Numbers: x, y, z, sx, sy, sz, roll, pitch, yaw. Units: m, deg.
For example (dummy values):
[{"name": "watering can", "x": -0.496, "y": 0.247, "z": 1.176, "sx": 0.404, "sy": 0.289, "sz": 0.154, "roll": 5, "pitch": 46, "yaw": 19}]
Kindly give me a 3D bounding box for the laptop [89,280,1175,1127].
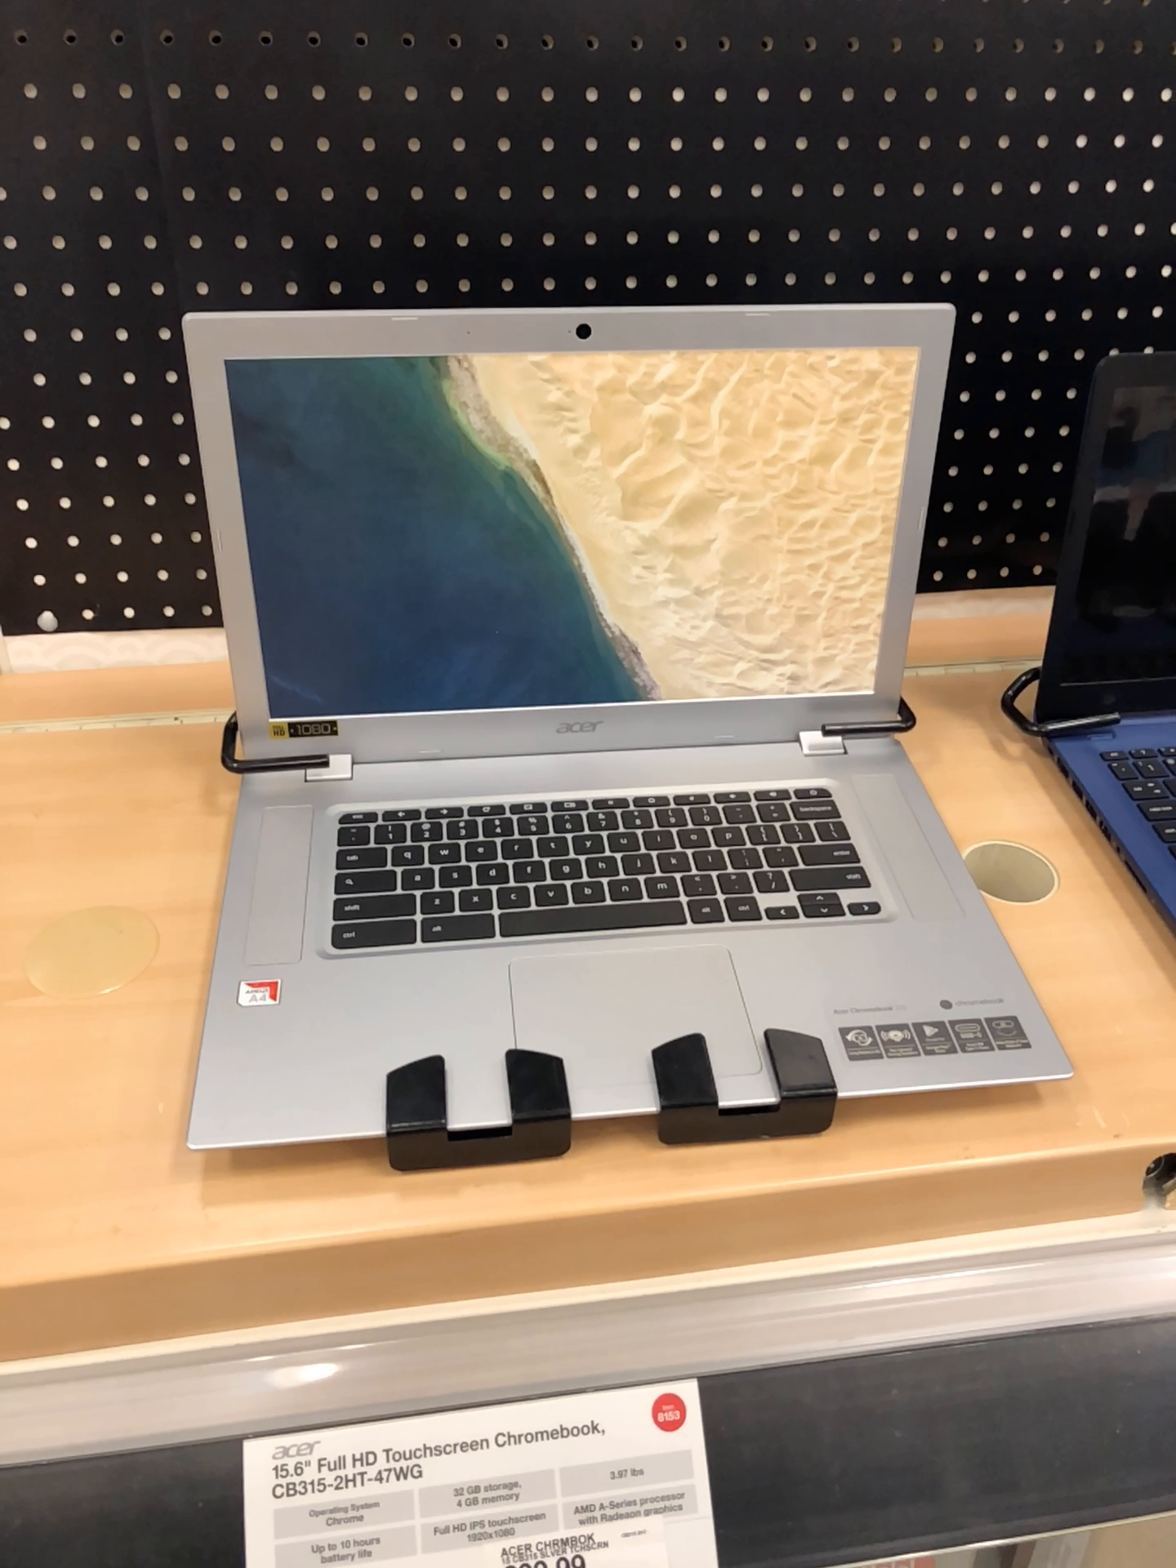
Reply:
[{"name": "laptop", "x": 0.007, "y": -0.063, "z": 0.606, "sx": 0.371, "sy": 0.246, "sz": 0.287, "roll": -4, "pitch": 33, "yaw": -6}]
